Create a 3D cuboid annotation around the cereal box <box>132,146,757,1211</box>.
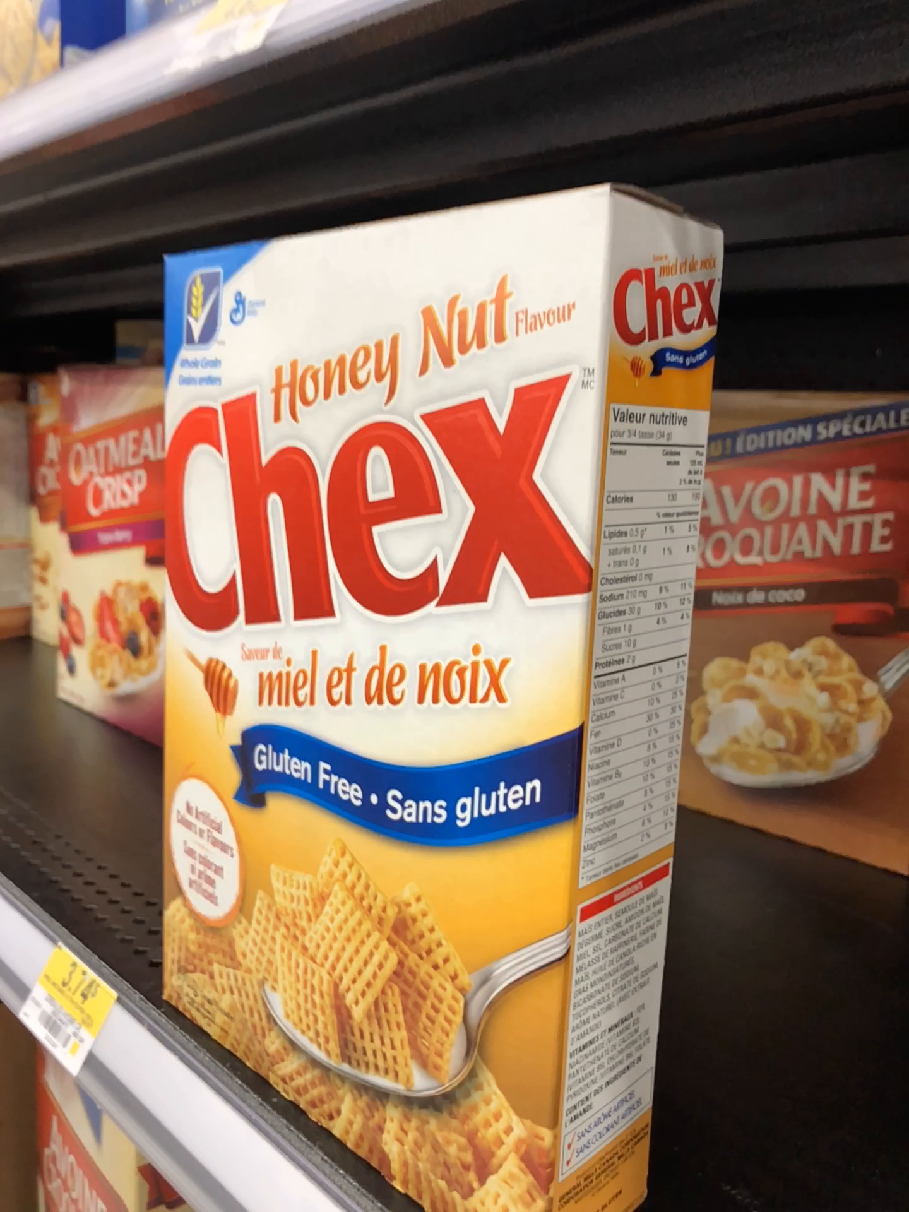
[{"bbox_3d":[-0.027,0.024,0.322,0.210,0.279,0.050,12,12,44],"label":"cereal box"}]
